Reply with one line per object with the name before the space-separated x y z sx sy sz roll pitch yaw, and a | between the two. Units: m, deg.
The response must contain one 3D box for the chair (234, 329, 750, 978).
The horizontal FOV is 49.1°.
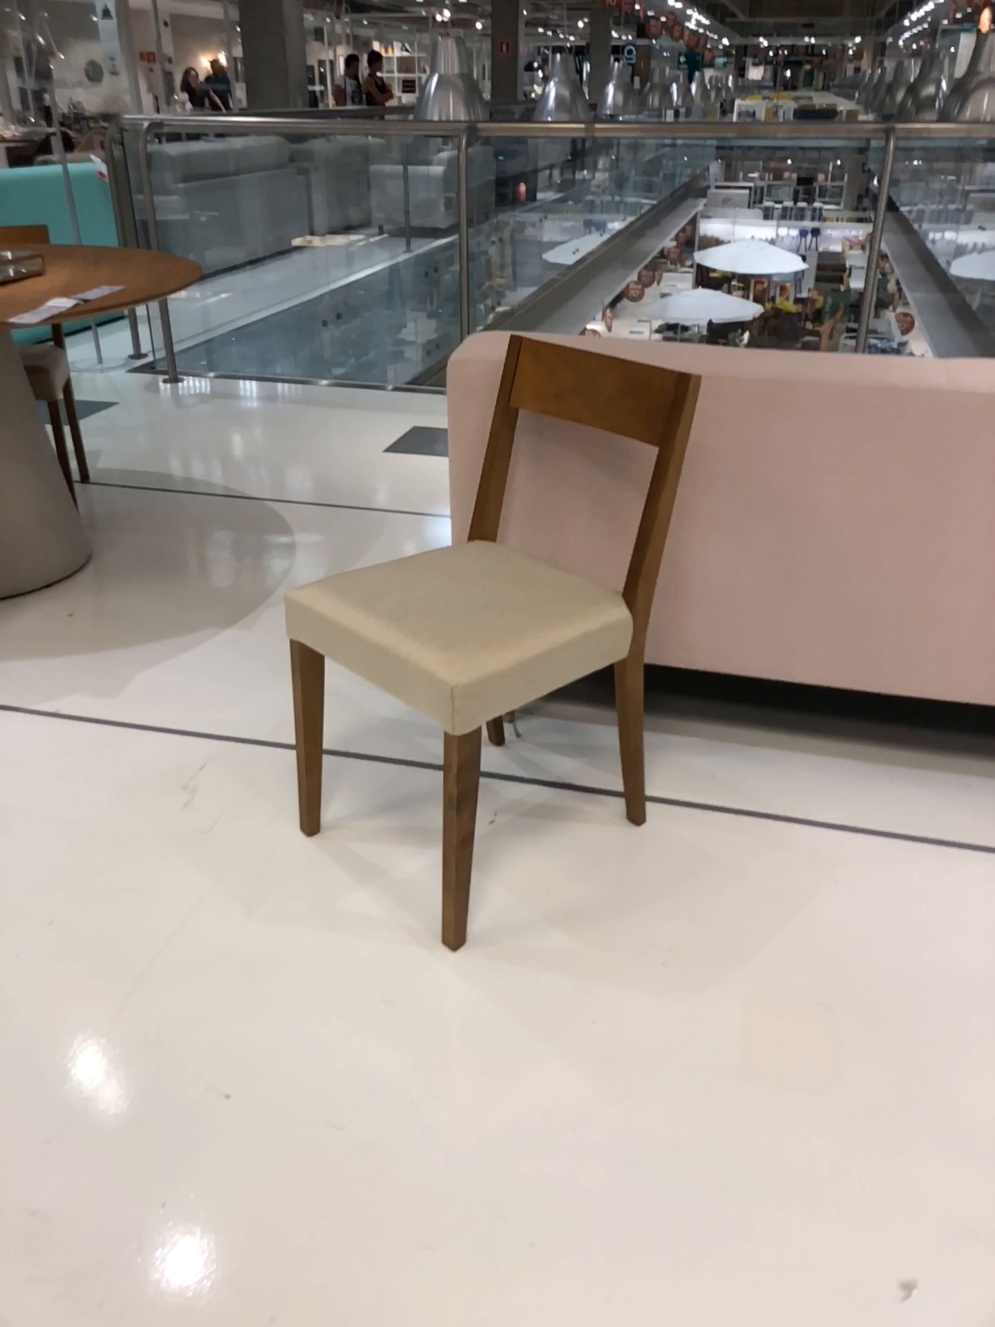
chair | -0.007 -0.063 1.801 0.592 0.814 0.492 -21 34 -35
